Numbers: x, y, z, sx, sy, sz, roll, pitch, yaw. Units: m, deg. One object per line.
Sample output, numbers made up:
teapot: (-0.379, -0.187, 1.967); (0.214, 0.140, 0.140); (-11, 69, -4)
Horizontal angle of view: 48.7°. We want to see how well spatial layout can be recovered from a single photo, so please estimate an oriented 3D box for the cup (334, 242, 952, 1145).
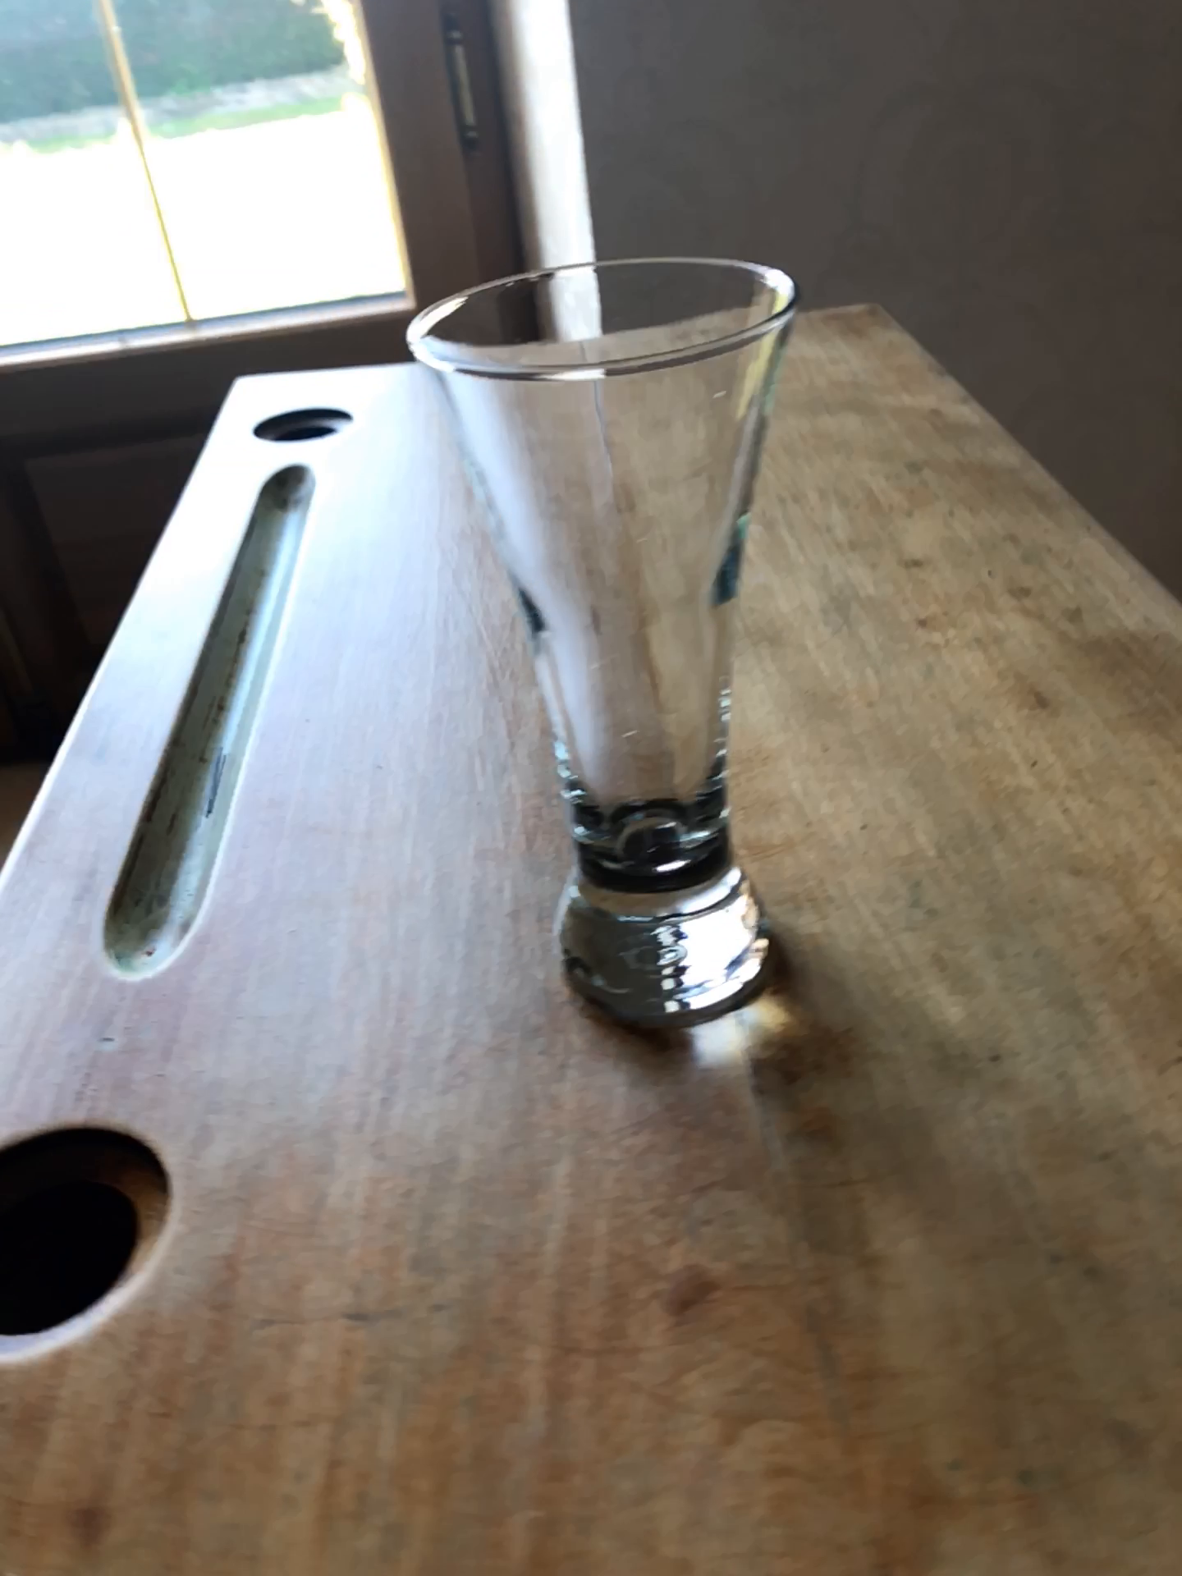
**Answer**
cup: (0.015, -0.020, 0.264); (0.070, 0.149, 0.080); (-31, 40, -30)
